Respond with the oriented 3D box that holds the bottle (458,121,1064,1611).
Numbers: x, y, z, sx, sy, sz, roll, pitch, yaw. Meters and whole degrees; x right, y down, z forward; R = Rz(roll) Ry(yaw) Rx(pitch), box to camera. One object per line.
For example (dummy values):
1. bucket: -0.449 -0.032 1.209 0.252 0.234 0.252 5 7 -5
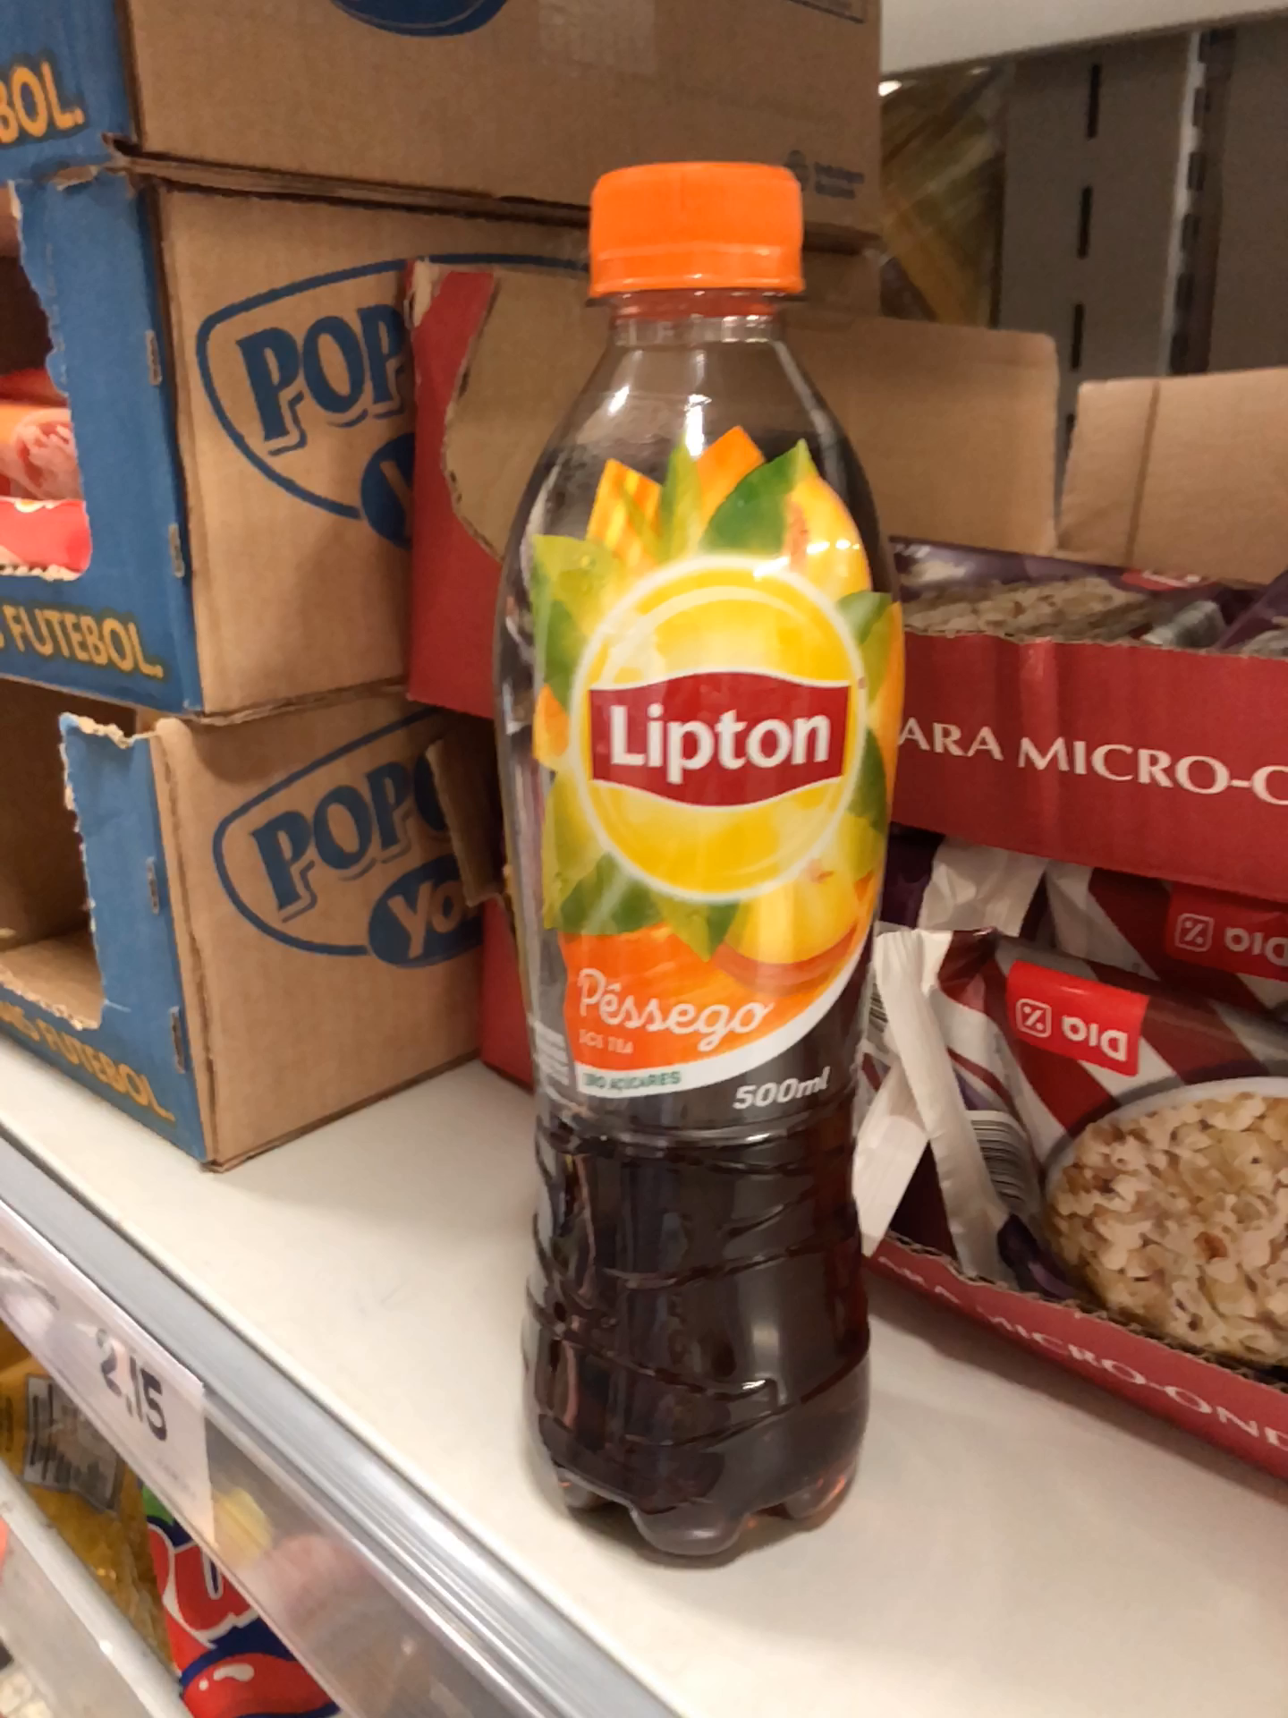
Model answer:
1. bottle: 0.017 0.007 0.235 0.070 0.219 0.070 -2 20 1
